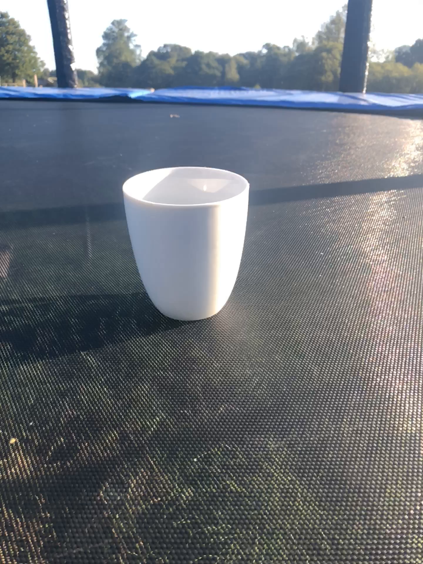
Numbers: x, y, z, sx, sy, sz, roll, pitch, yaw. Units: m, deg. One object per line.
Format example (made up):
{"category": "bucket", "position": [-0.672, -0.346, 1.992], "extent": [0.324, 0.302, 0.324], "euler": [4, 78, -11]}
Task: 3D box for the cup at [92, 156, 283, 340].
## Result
{"category": "cup", "position": [-0.014, -0.035, 0.362], "extent": [0.100, 0.089, 0.111], "euler": [14, 30, 21]}
